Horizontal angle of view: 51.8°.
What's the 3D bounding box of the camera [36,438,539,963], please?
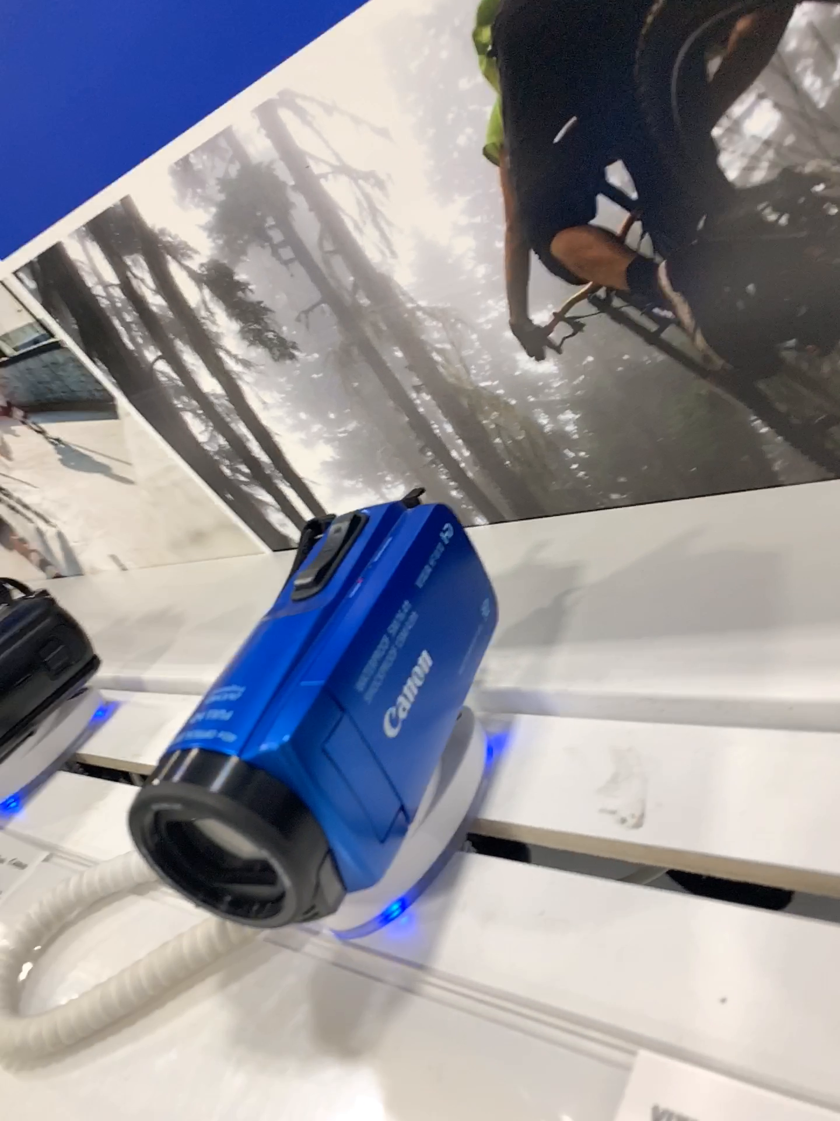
[{"bbox_3d":[-0.026,0.032,0.254,0.072,0.057,0.144,-12,30,31],"label":"camera"}]
